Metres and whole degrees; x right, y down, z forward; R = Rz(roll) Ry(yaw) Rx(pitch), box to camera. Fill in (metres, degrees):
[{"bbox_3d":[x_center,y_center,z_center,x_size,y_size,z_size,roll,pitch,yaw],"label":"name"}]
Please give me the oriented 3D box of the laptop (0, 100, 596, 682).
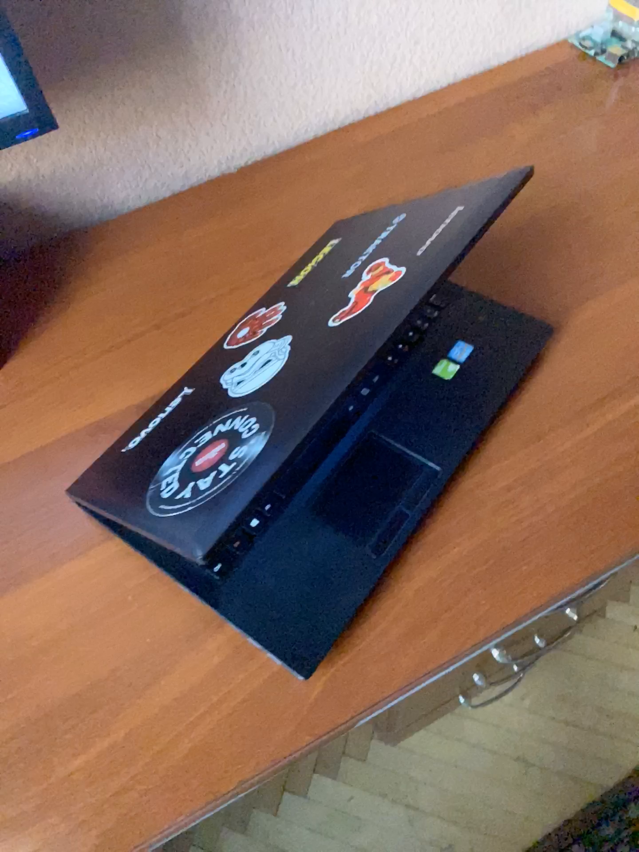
[{"bbox_3d":[-0.003,-0.054,0.518,0.256,0.149,0.378,30,65,21],"label":"laptop"}]
